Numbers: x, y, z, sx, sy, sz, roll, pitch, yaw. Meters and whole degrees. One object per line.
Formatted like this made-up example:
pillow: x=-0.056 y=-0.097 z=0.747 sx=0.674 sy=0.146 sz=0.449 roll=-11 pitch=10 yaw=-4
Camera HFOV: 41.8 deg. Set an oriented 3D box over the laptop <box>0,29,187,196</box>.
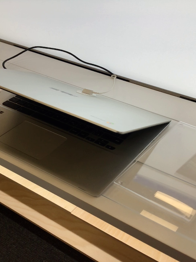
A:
laptop: x=-0.092 y=-0.060 z=0.509 sx=0.385 sy=0.133 sz=0.234 roll=25 pitch=53 yaw=22
